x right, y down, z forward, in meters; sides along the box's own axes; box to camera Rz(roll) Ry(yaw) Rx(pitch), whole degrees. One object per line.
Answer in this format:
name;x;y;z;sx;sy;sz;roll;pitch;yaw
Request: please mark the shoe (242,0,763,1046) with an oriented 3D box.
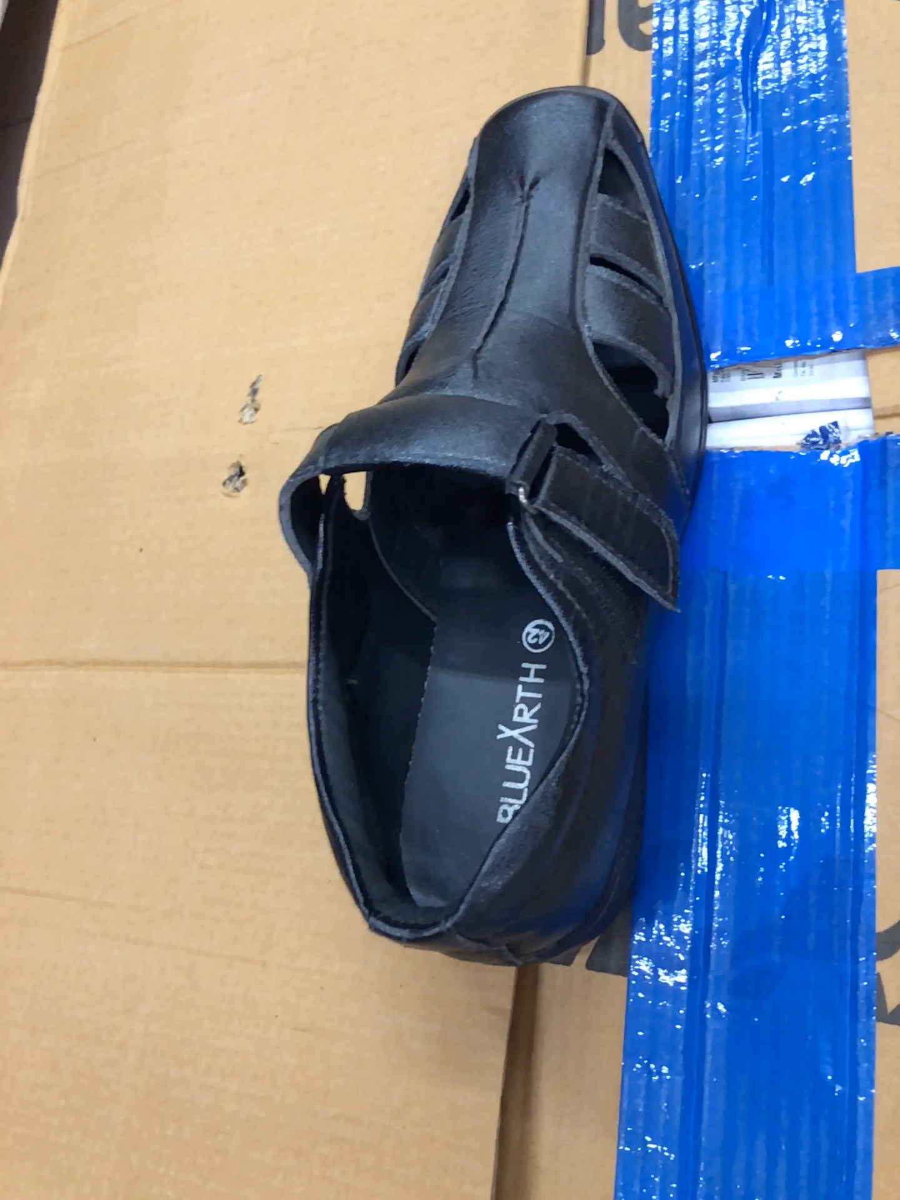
shoe;0.029;-0.049;0.289;0.100;0.097;0.304;-3;73;25
